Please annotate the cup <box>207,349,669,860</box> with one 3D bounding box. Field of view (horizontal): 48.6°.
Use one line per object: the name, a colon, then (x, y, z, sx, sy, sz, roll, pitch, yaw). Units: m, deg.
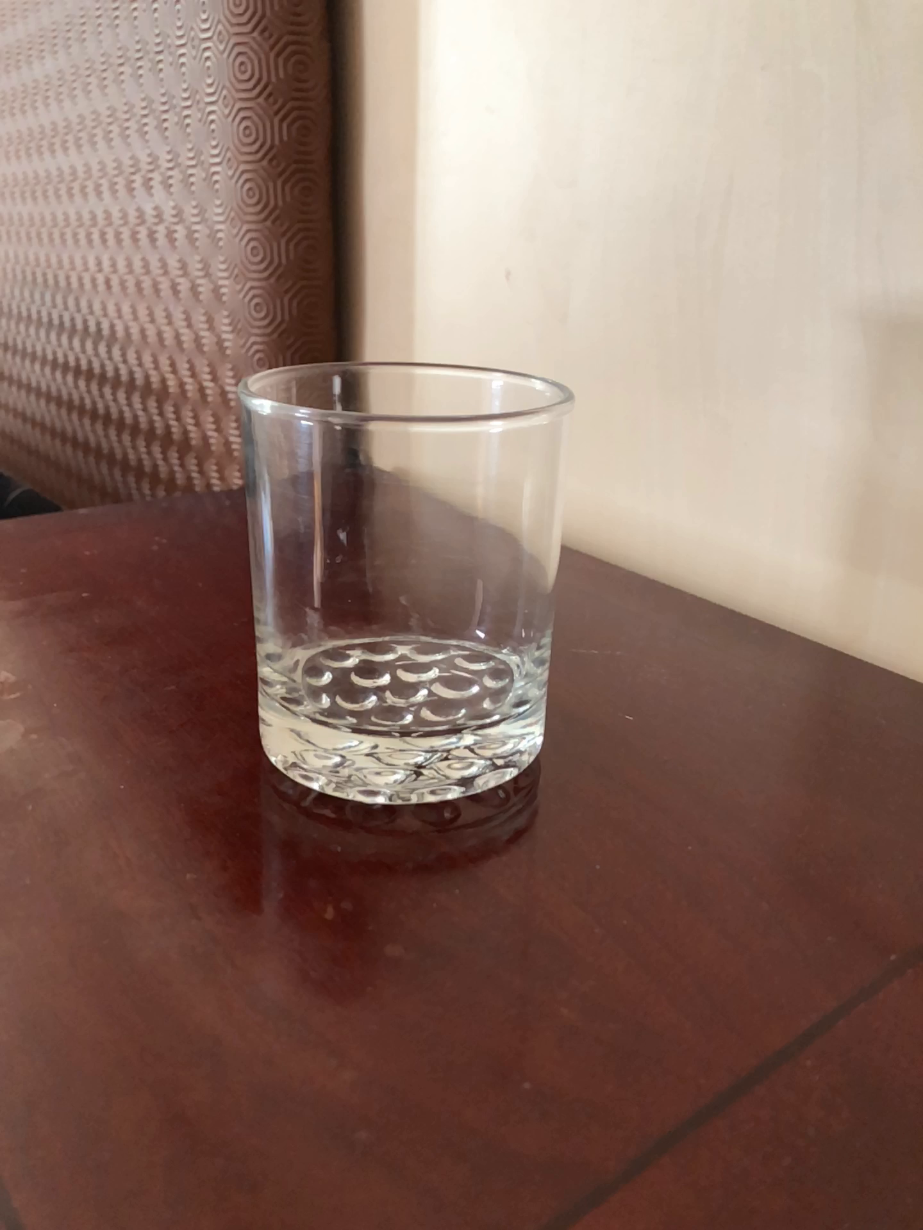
cup: (-0.011, -0.011, 0.256, 0.082, 0.097, 0.081, 2, 21, -1)
